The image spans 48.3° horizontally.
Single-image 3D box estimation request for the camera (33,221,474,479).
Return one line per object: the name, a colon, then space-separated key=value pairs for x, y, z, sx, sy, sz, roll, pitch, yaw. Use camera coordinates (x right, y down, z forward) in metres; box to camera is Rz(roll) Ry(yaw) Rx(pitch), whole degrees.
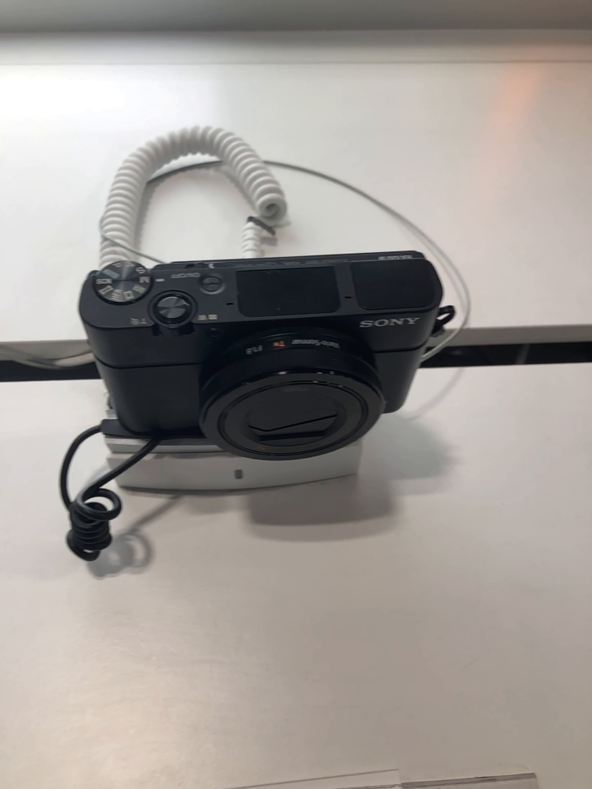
camera: x=-0.012 y=-0.011 z=0.205 sx=0.110 sy=0.070 sz=0.040 roll=-3 pitch=56 yaw=-4
